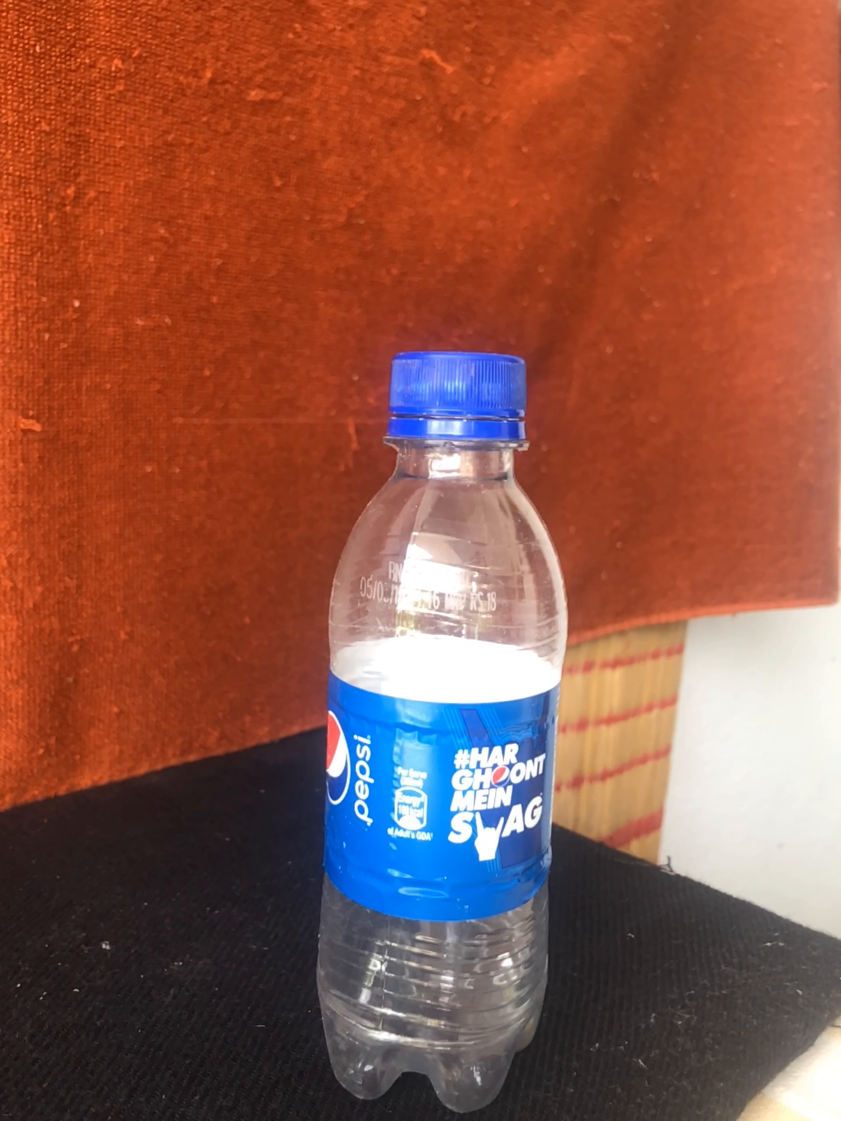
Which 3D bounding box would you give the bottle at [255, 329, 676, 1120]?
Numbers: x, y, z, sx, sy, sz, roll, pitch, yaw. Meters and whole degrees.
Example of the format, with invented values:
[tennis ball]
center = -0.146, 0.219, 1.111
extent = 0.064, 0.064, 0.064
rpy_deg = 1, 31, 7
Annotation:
[bottle]
center = 0.004, 0.040, 0.208
extent = 0.060, 0.170, 0.050
rpy_deg = 2, 10, -21
